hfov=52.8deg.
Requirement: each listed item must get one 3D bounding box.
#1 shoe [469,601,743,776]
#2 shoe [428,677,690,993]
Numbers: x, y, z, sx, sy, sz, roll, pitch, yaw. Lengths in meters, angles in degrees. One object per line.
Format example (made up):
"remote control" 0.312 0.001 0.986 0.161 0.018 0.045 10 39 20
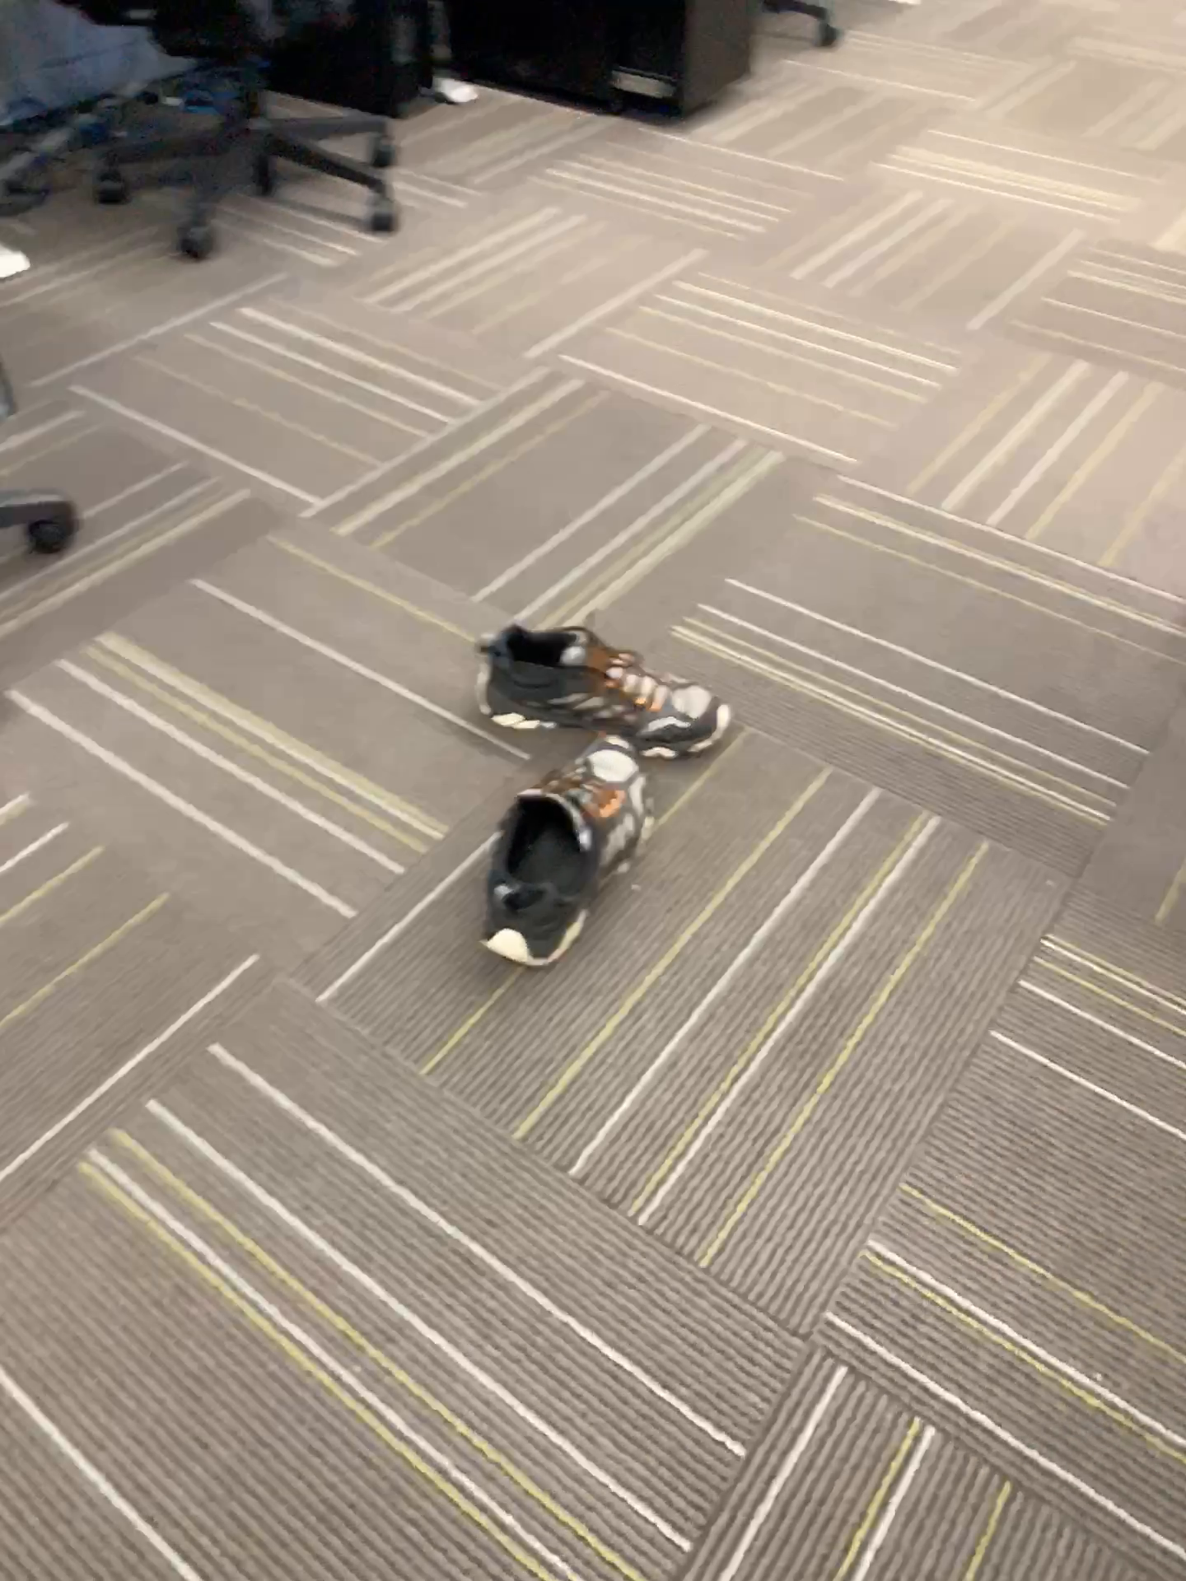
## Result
"shoe" 0.018 -0.130 1.493 0.310 0.099 0.141 11 47 10
"shoe" -0.025 0.034 1.216 0.140 0.099 0.311 18 49 16
